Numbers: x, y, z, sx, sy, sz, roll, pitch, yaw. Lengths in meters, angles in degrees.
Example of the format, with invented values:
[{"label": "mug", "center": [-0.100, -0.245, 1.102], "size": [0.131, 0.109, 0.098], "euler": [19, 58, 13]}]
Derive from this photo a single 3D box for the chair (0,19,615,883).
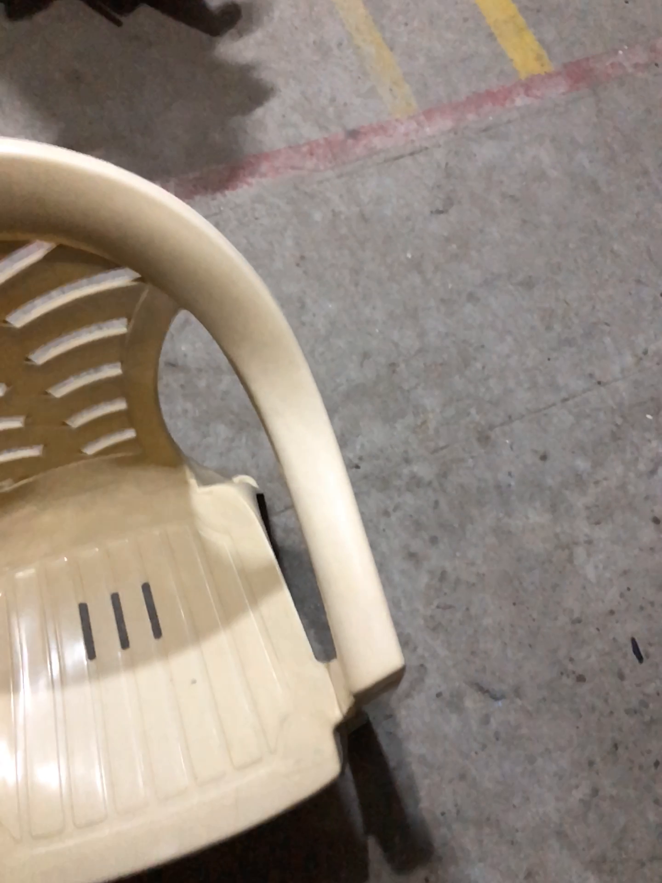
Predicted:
[{"label": "chair", "center": [-0.249, 0.184, 0.761], "size": [0.560, 0.868, 0.561], "euler": [-14, 74, -8]}]
